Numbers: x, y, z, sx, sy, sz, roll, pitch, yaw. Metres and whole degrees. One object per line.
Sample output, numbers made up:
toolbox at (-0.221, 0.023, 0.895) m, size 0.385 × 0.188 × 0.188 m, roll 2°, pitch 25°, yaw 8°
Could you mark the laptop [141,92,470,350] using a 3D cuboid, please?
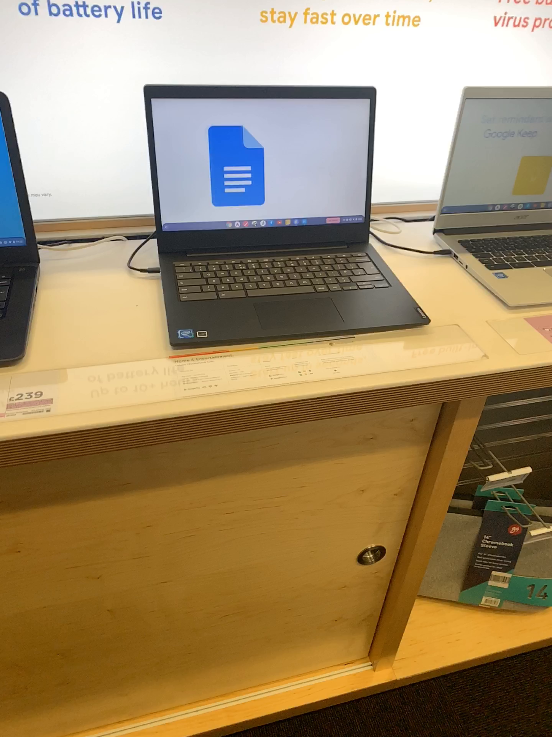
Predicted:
laptop at (0.007, -0.203, 0.712) m, size 0.316 × 0.201 × 0.282 m, roll -6°, pitch 39°, yaw -12°
